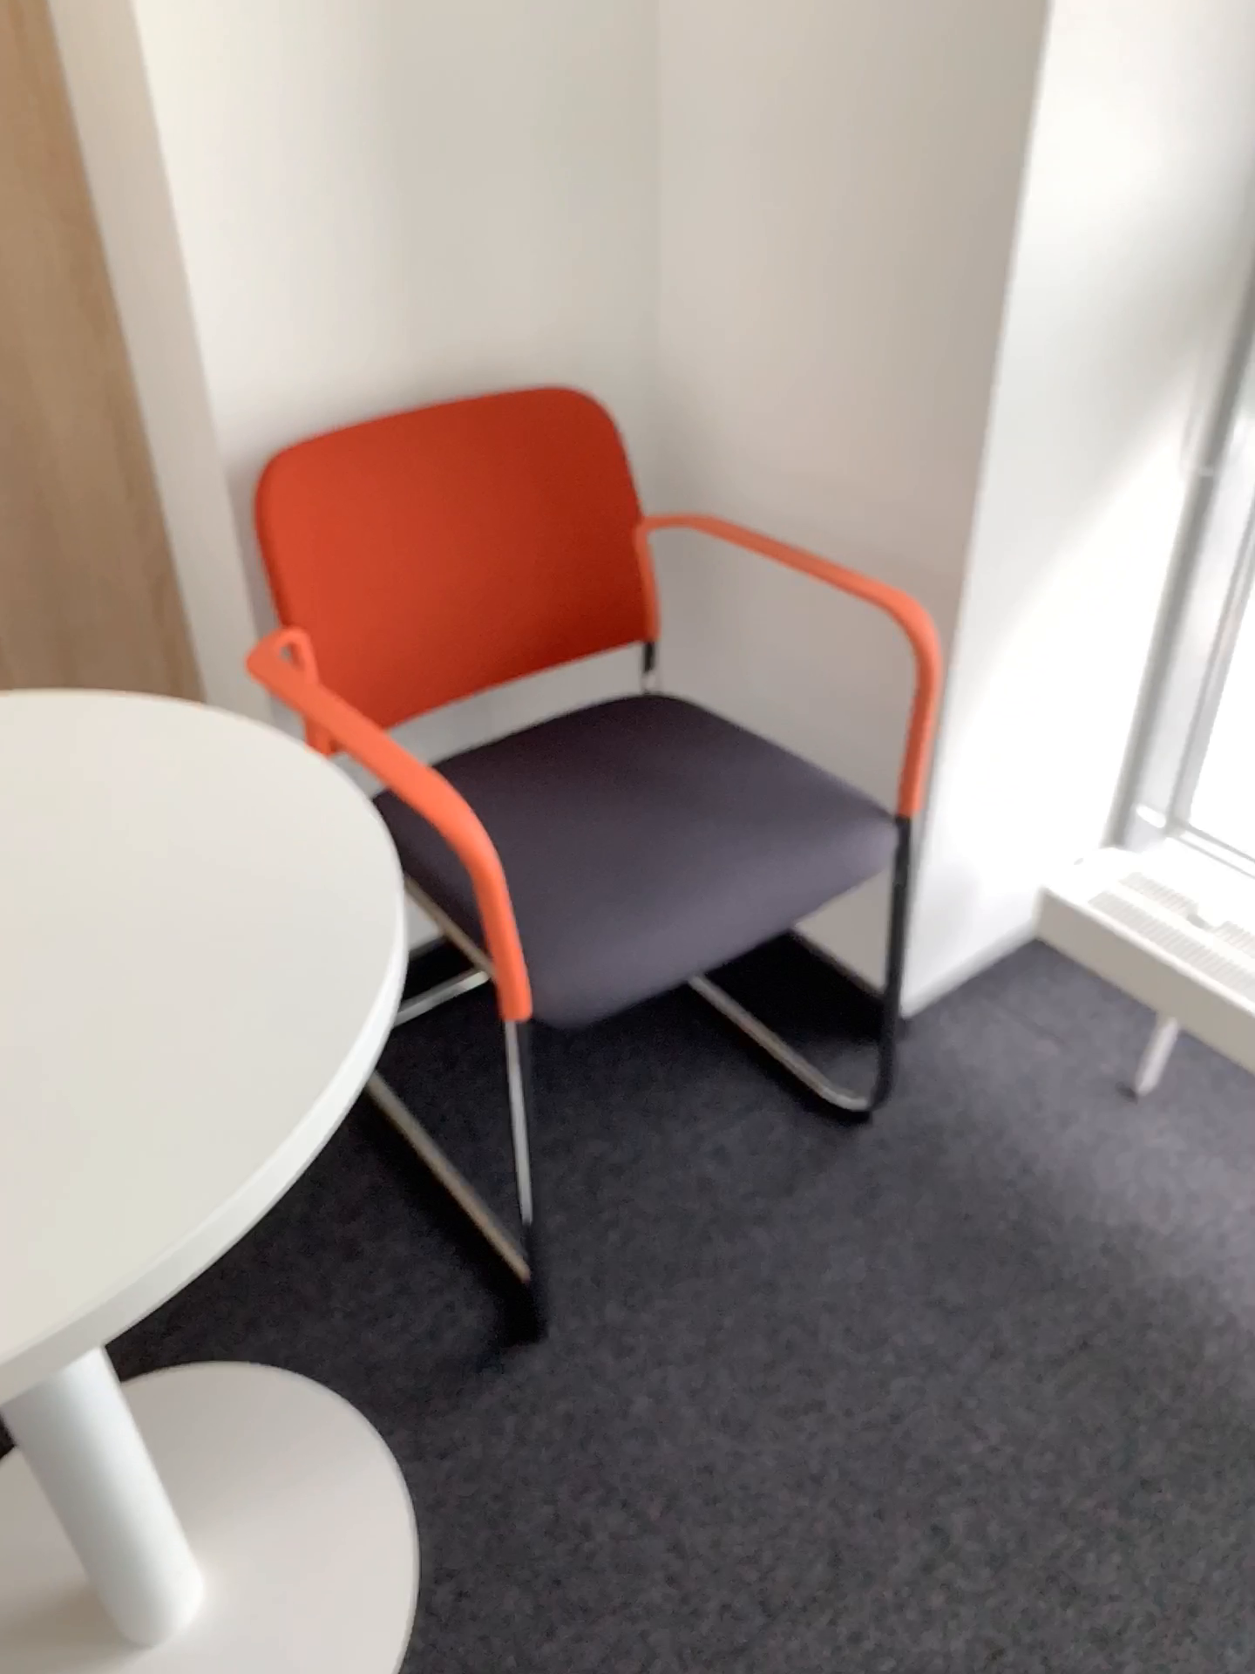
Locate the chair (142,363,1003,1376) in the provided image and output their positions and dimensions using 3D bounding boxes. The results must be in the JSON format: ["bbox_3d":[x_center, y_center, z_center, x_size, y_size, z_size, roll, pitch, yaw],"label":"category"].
[{"bbox_3d":[-0.062,-0.002,1.415,0.572,0.775,0.562,-24,41,-28],"label":"chair"}]
